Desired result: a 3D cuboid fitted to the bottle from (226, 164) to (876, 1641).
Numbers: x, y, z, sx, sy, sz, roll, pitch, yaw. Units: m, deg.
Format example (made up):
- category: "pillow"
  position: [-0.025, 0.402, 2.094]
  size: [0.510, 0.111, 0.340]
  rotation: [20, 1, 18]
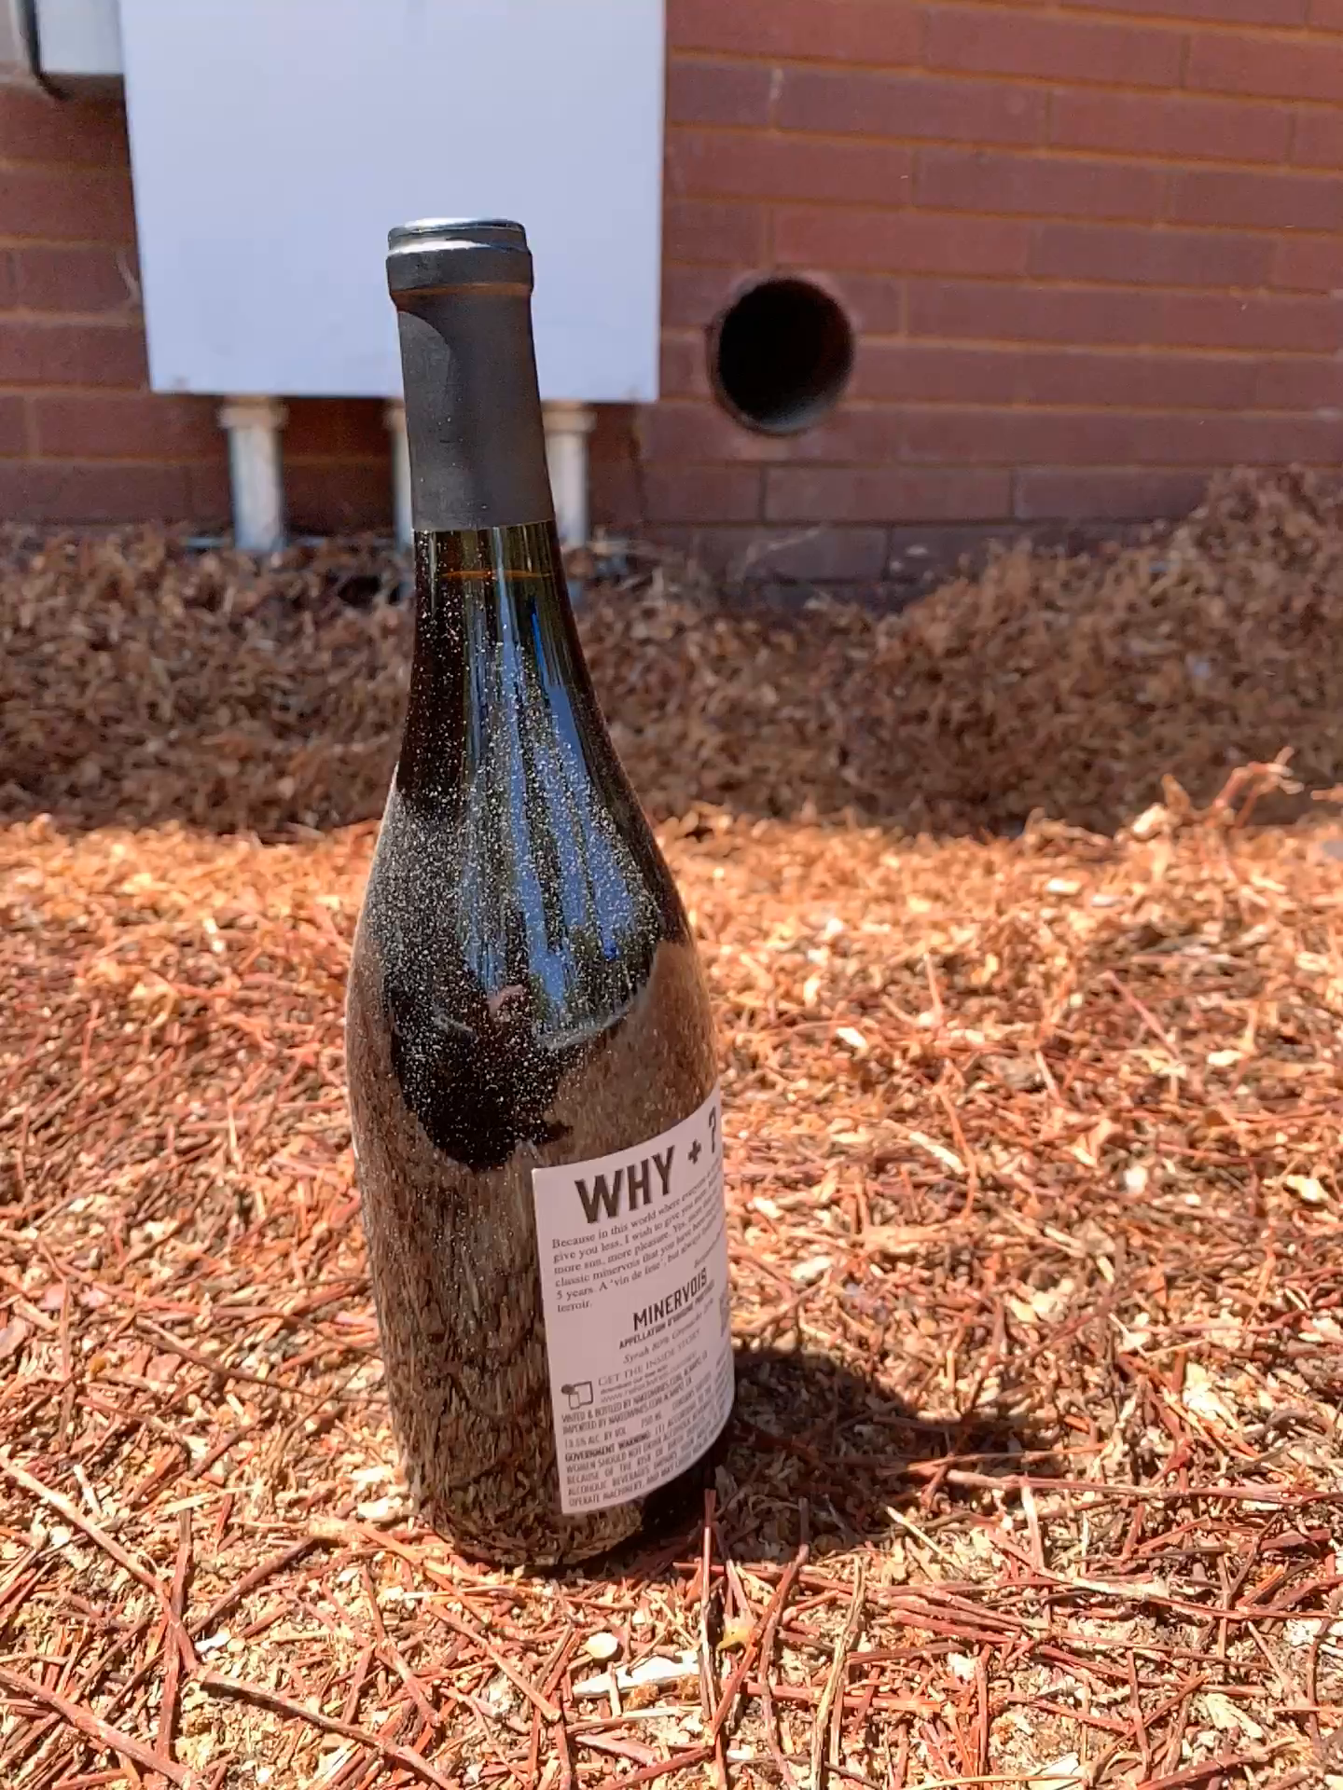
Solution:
- category: "bottle"
  position: [-0.020, 0.005, 0.304]
  size: [0.090, 0.279, 0.090]
  rotation: [1, 19, 0]
